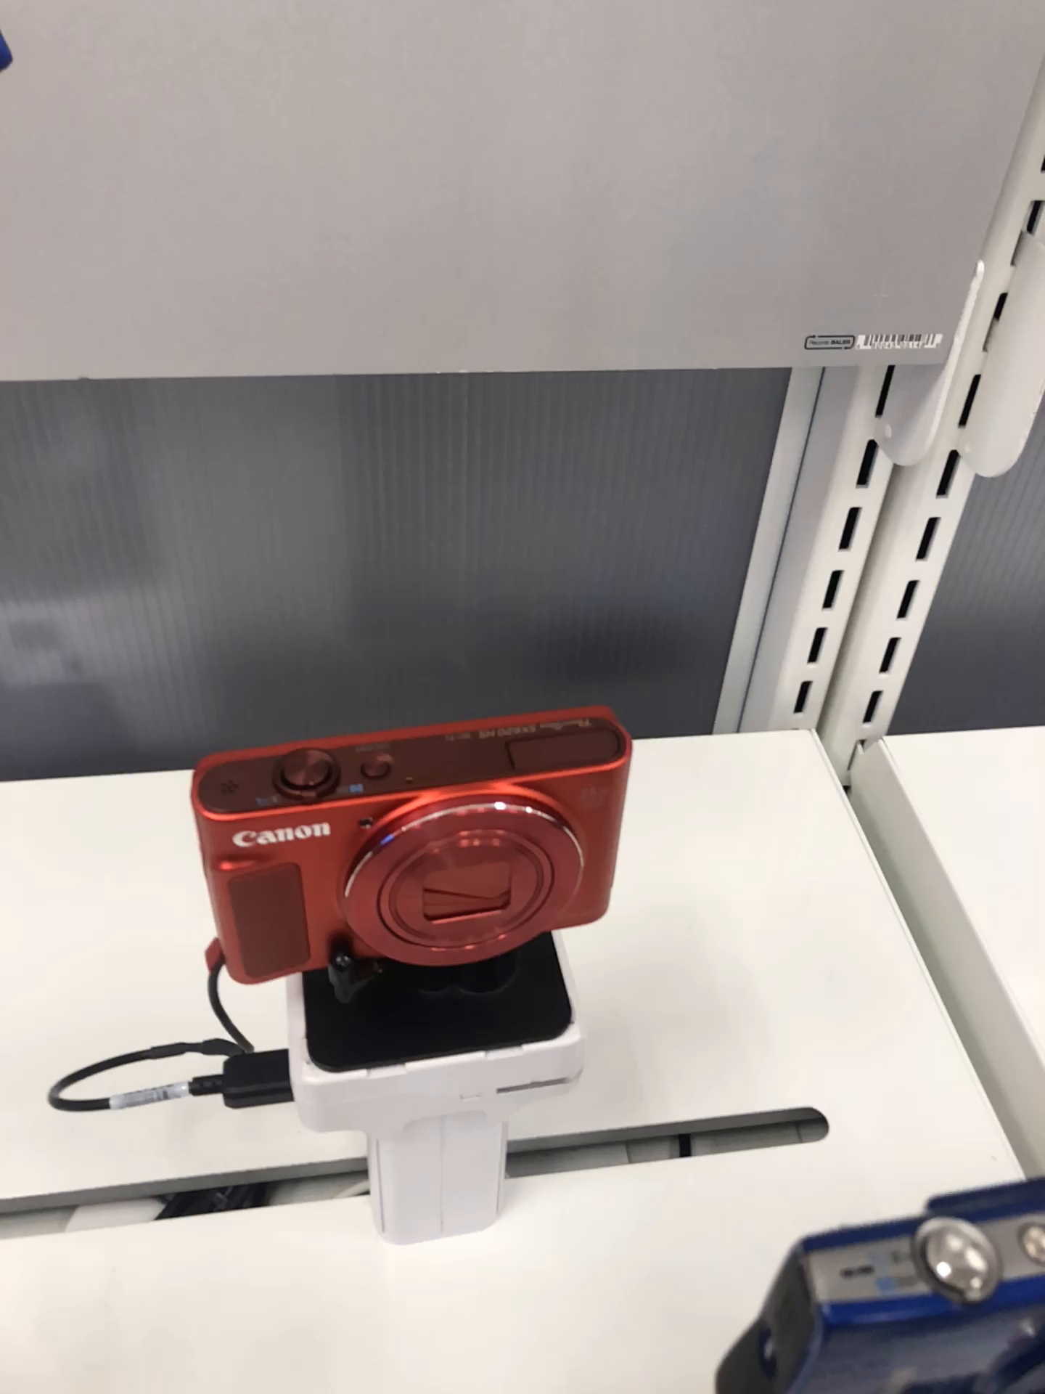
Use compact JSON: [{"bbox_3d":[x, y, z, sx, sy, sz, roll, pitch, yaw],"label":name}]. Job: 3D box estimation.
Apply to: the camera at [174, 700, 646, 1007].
[{"bbox_3d":[-0.025,0.035,0.260,0.096,0.053,0.028,-6,42,-11],"label":"camera"}]
